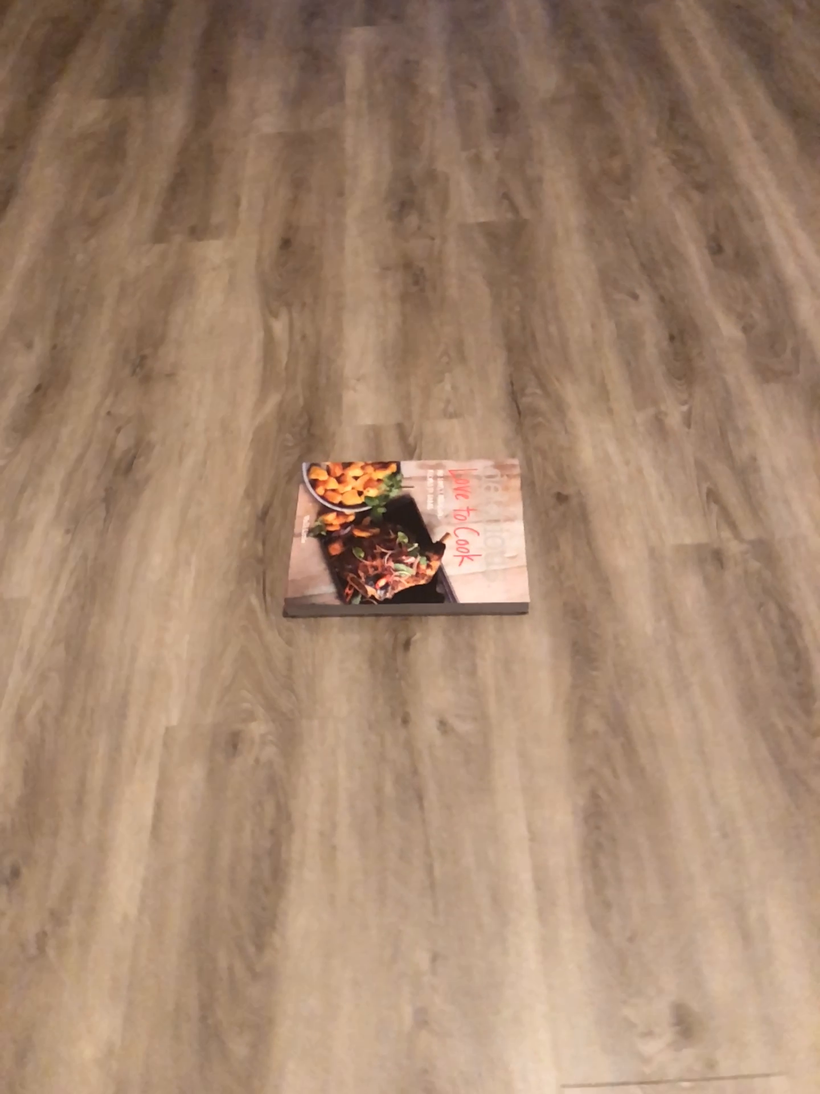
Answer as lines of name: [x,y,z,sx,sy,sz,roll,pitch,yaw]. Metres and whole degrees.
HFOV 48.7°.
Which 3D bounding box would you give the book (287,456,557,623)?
book: [0.014,-0.013,1.052,0.290,0.030,0.222,-1,51,3]
